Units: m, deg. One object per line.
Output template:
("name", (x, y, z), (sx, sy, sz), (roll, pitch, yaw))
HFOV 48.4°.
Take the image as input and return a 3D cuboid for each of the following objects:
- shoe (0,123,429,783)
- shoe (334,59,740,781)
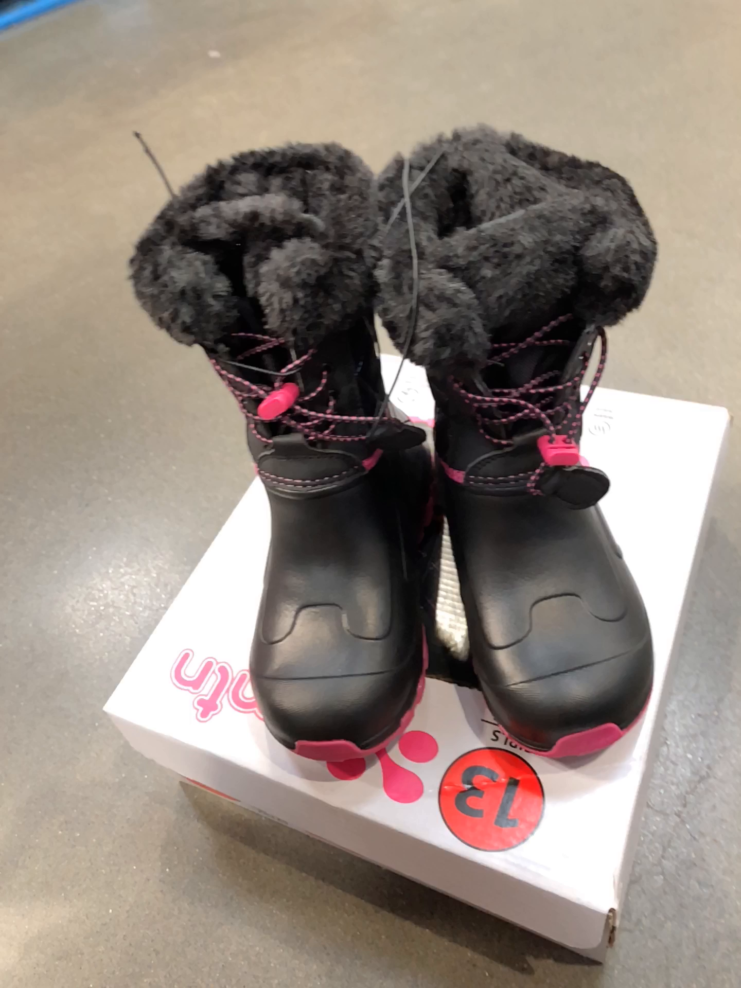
("shoe", (-0.038, -0.014, 0.390), (0.110, 0.209, 0.221), (-4, 49, 8))
("shoe", (0.067, -0.028, 0.382), (0.110, 0.229, 0.221), (-11, 48, 2))
